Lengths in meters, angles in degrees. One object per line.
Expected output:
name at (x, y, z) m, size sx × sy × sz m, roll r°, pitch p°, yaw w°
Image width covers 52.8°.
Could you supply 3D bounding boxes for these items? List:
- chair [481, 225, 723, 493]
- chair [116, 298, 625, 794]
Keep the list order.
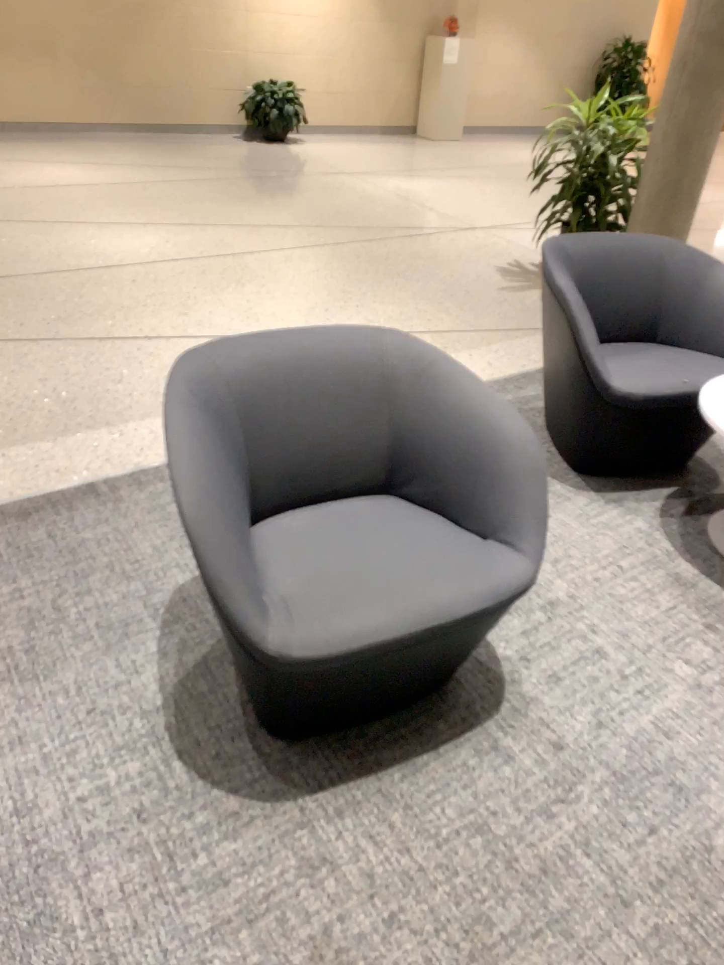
chair at (0.948, -0.462, 2.513) m, size 0.769 × 0.668 × 0.636 m, roll -7°, pitch 34°, yaw -18°
chair at (-0.028, 0.060, 1.580) m, size 0.780 × 0.658 × 0.635 m, roll -13°, pitch 36°, yaw -26°
